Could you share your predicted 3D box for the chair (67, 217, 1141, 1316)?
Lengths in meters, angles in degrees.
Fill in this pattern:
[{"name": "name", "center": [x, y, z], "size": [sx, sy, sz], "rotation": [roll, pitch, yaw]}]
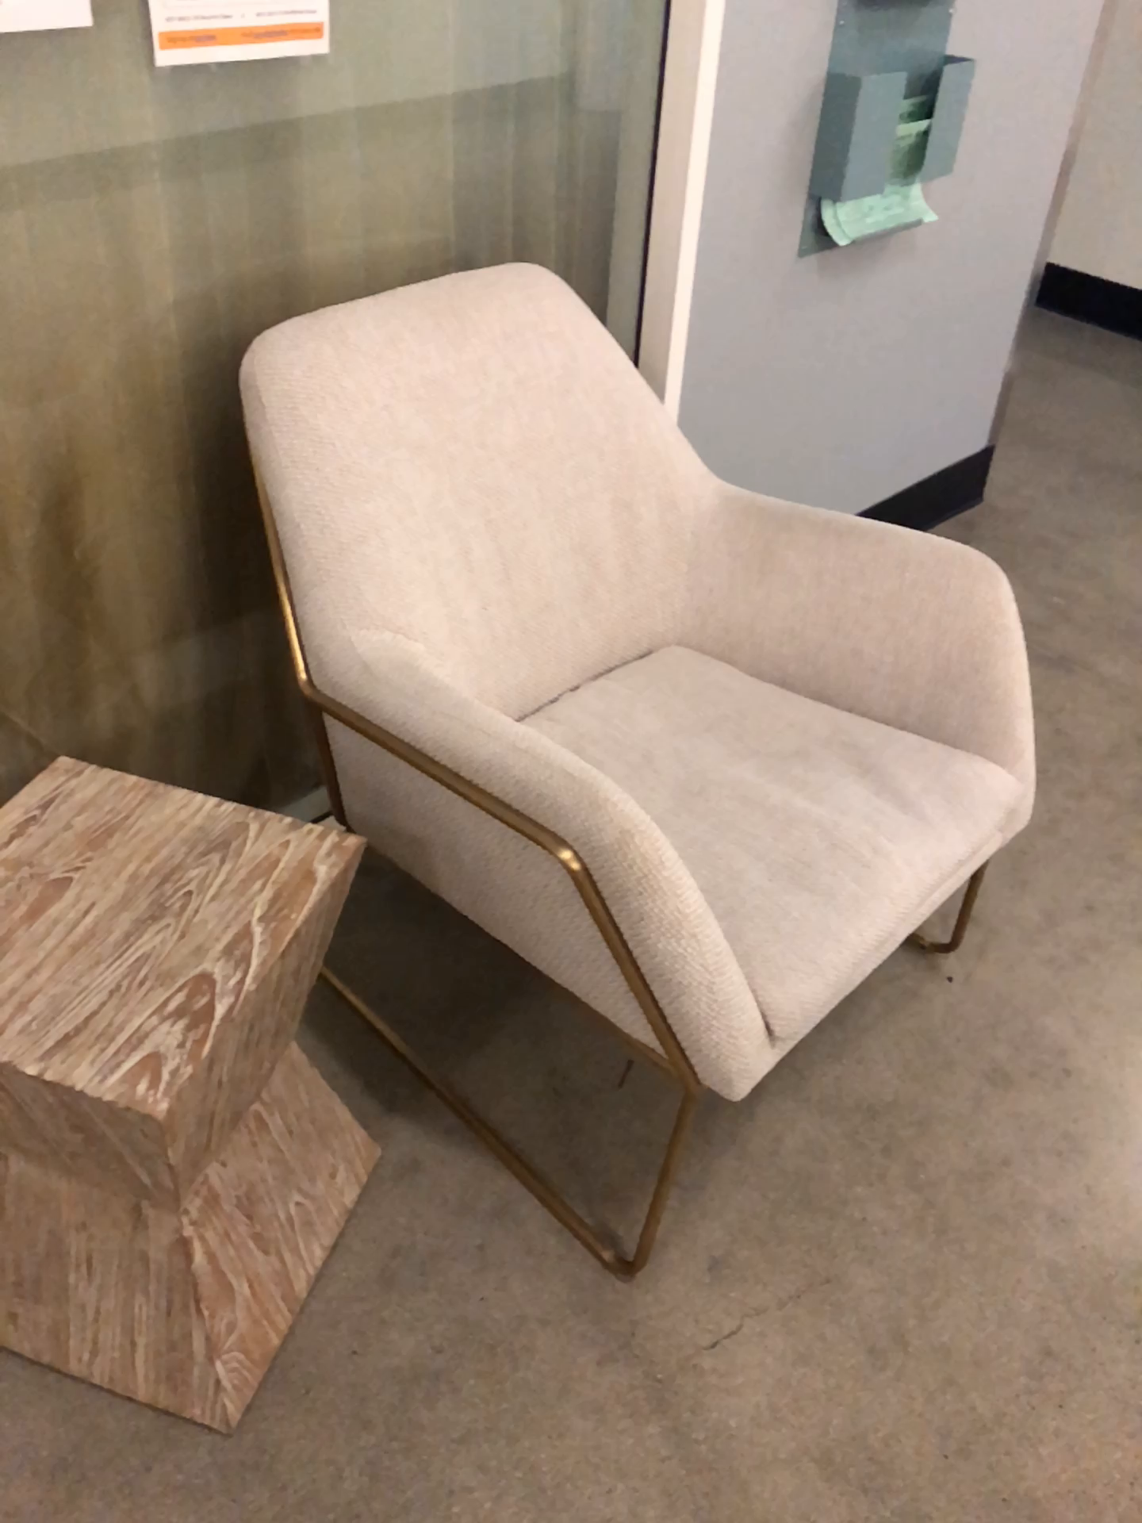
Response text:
[{"name": "chair", "center": [0.055, -0.105, 1.586], "size": [0.892, 0.816, 0.832], "rotation": [30, 43, 32]}]
